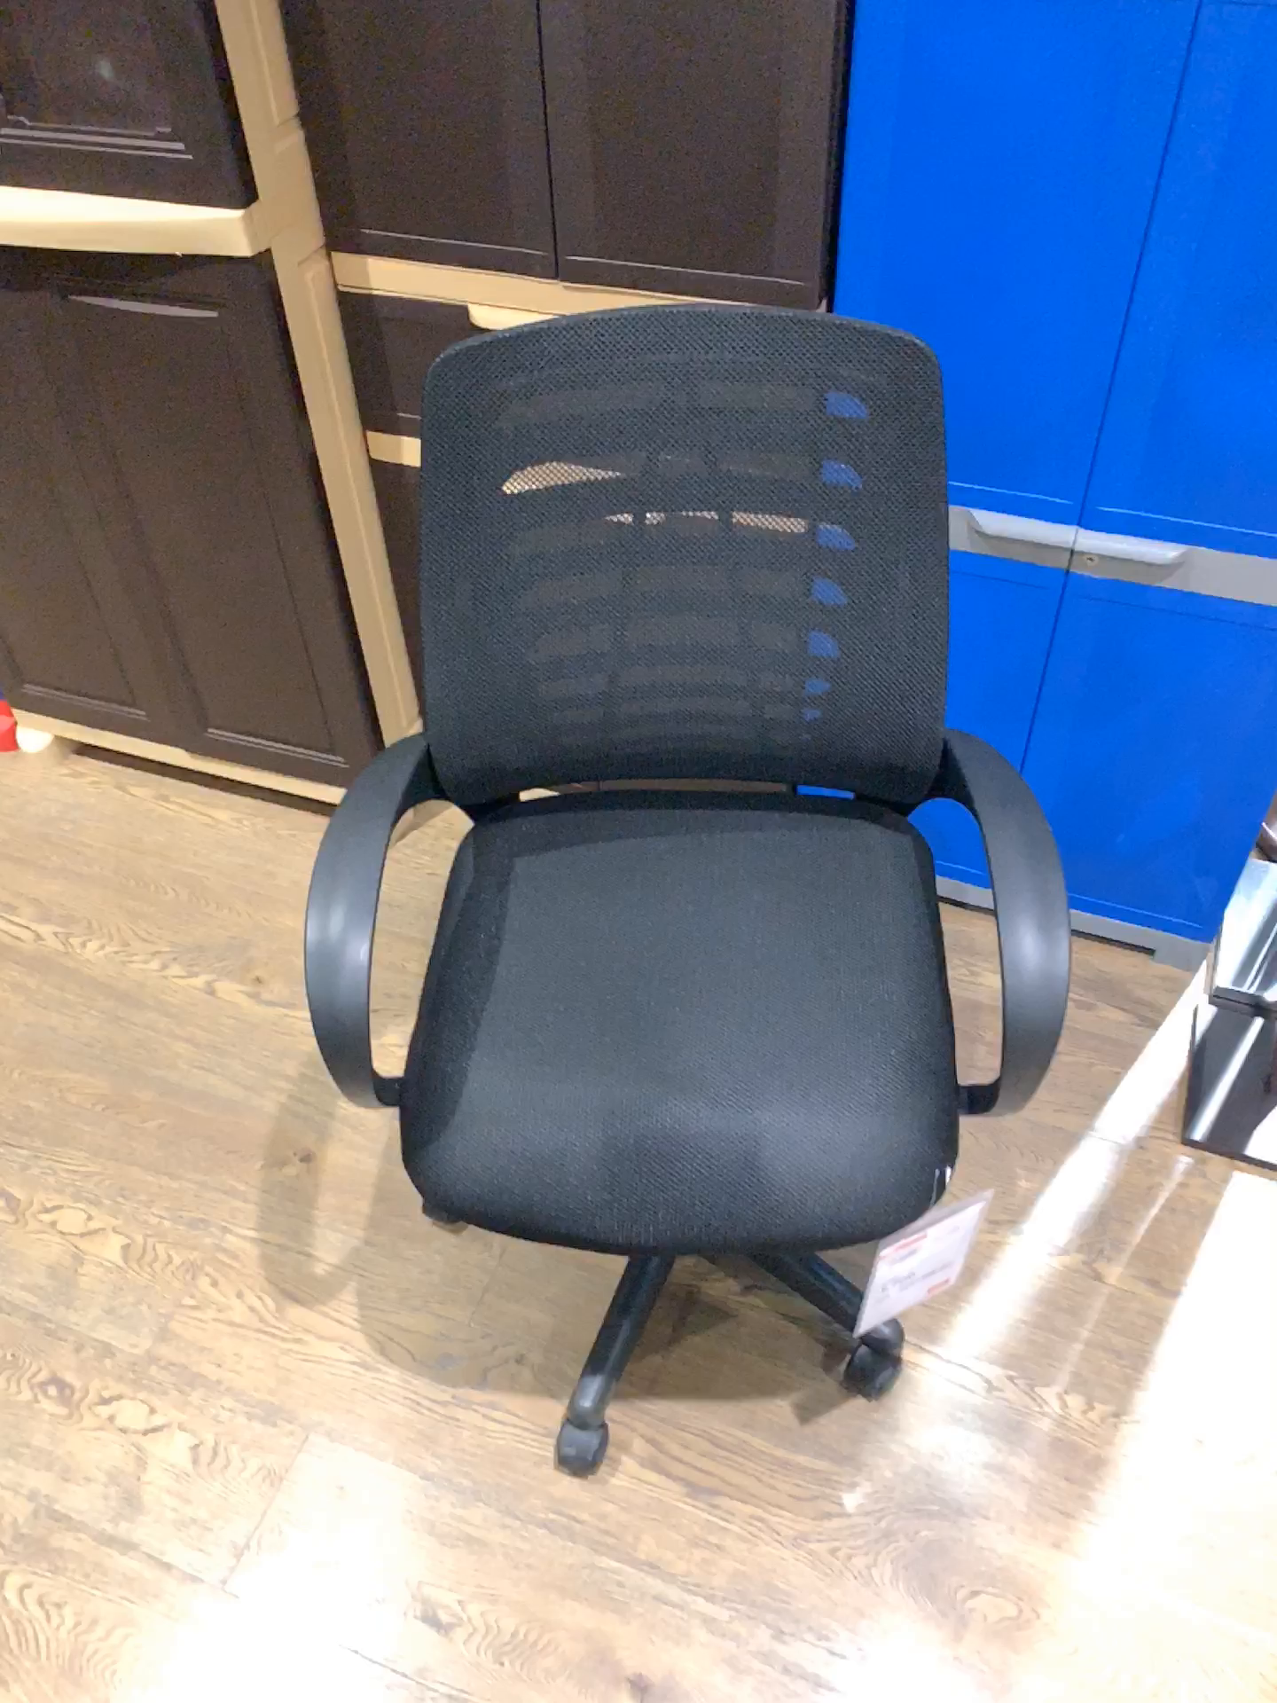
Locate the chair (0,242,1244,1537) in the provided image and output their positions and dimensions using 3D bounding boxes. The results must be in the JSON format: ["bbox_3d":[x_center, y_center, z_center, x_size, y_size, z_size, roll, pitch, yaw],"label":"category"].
[{"bbox_3d":[0.003,0.095,1.148,0.600,0.996,0.602,1,45,4],"label":"chair"}]
